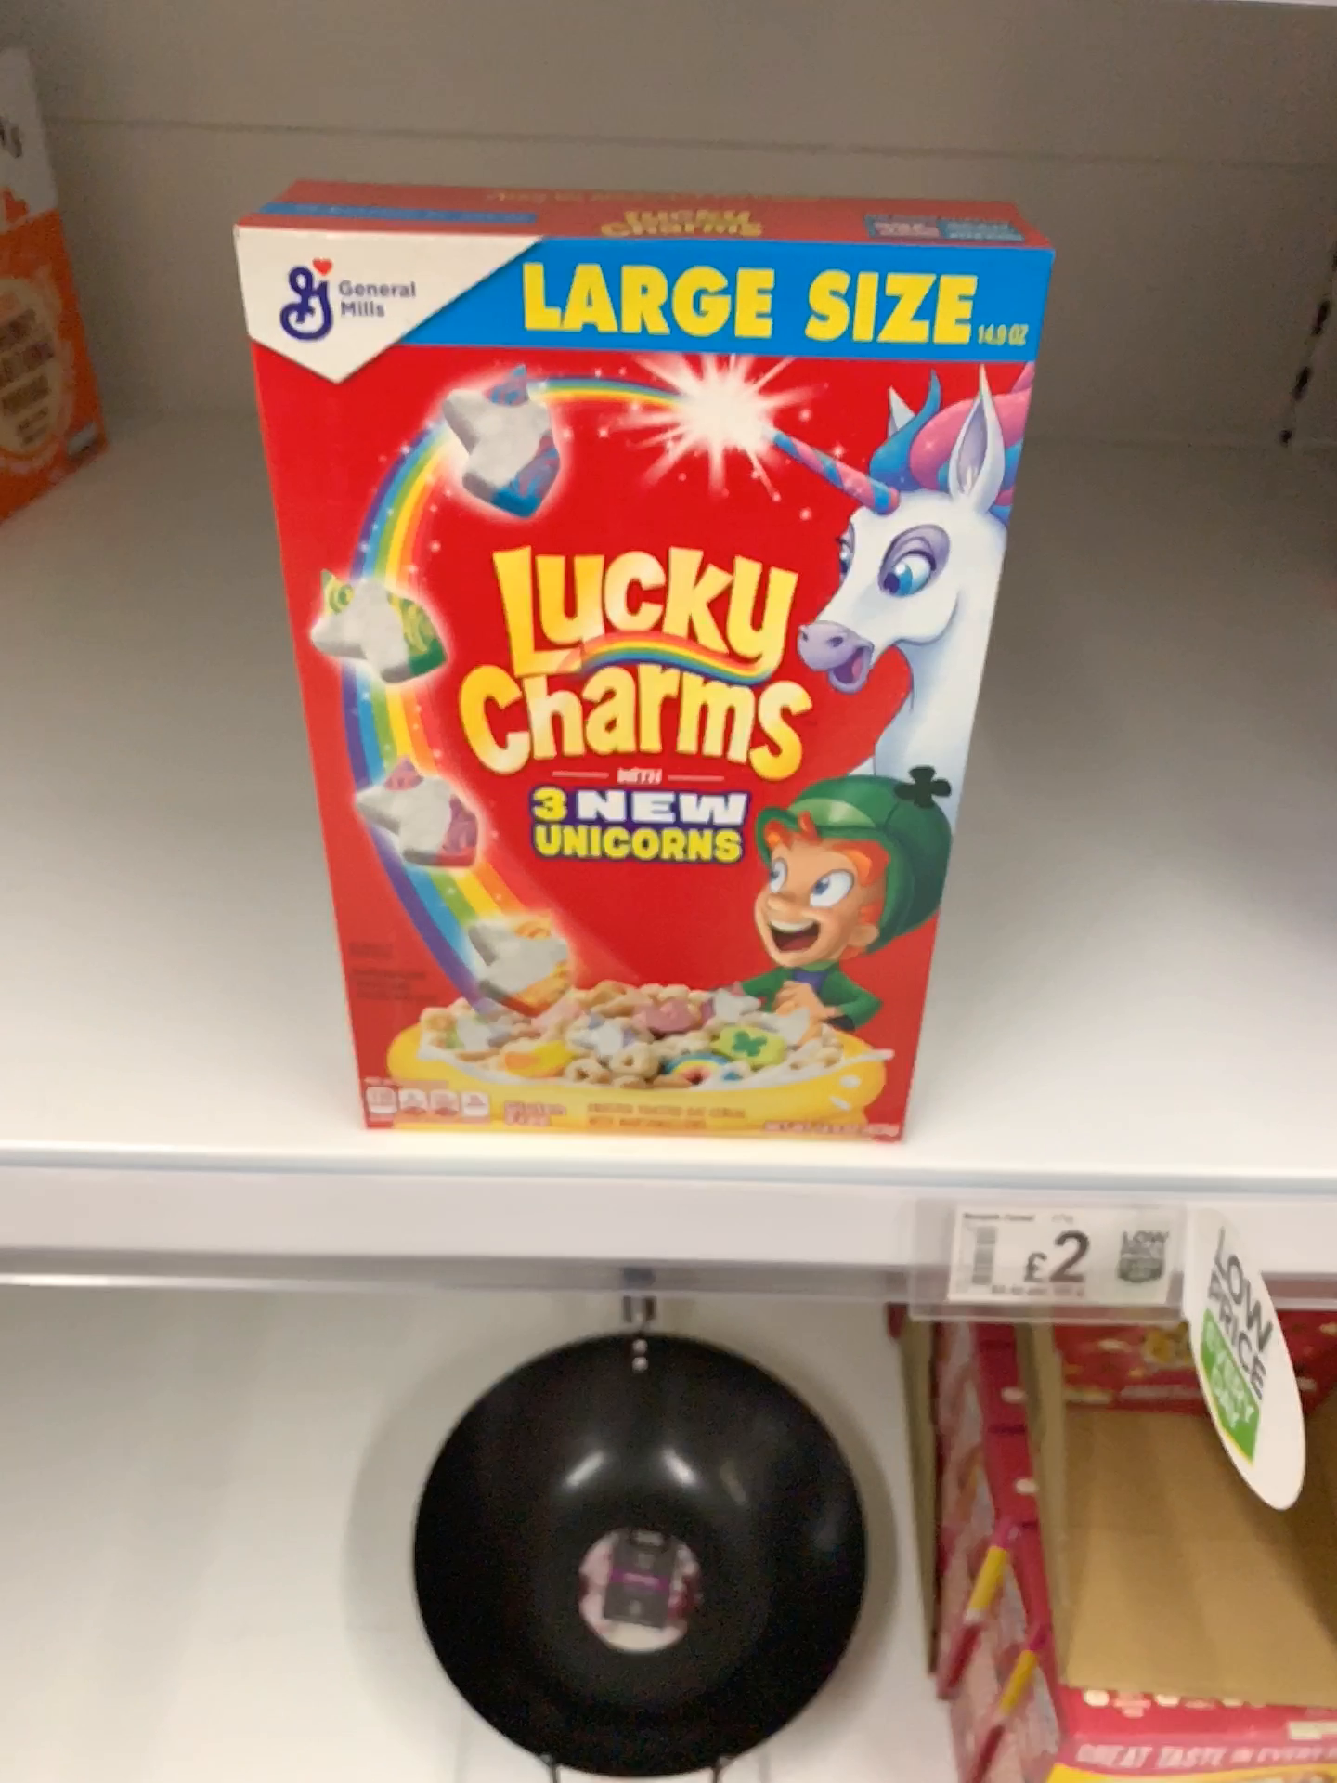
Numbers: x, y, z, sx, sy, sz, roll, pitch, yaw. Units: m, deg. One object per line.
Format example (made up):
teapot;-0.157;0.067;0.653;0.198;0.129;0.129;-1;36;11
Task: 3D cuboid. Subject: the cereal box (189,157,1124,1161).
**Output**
cereal box;-0.007;-0.050;0.428;0.210;0.297;0.071;2;36;-1
